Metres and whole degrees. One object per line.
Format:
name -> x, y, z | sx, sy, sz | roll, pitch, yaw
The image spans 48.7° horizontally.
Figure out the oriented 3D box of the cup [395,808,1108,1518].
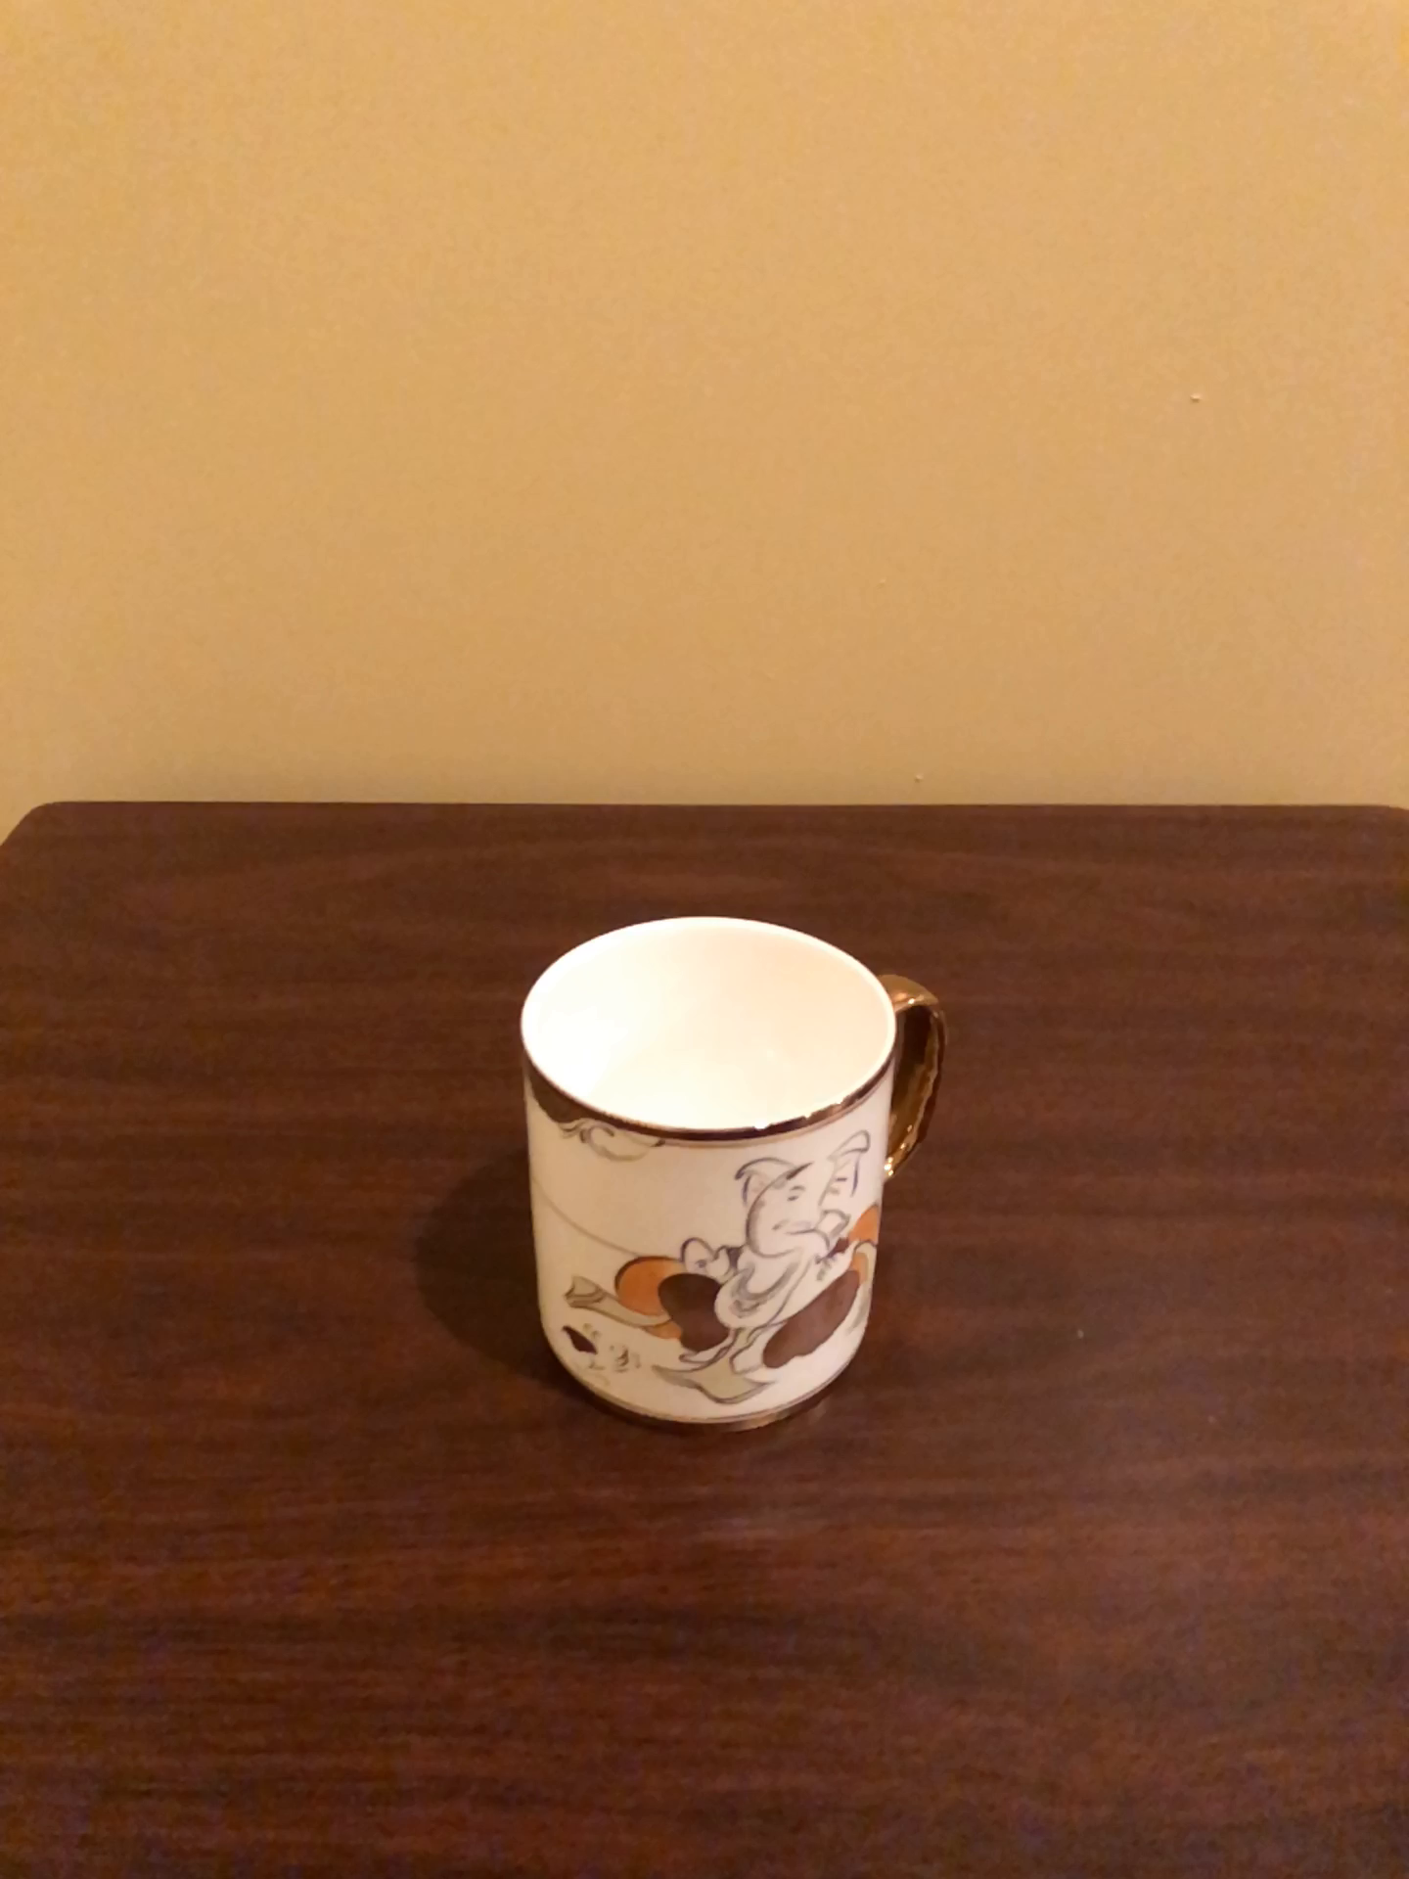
cup -> 0.011, 0.047, 0.400 | 0.140, 0.100, 0.100 | -21, 37, -32
